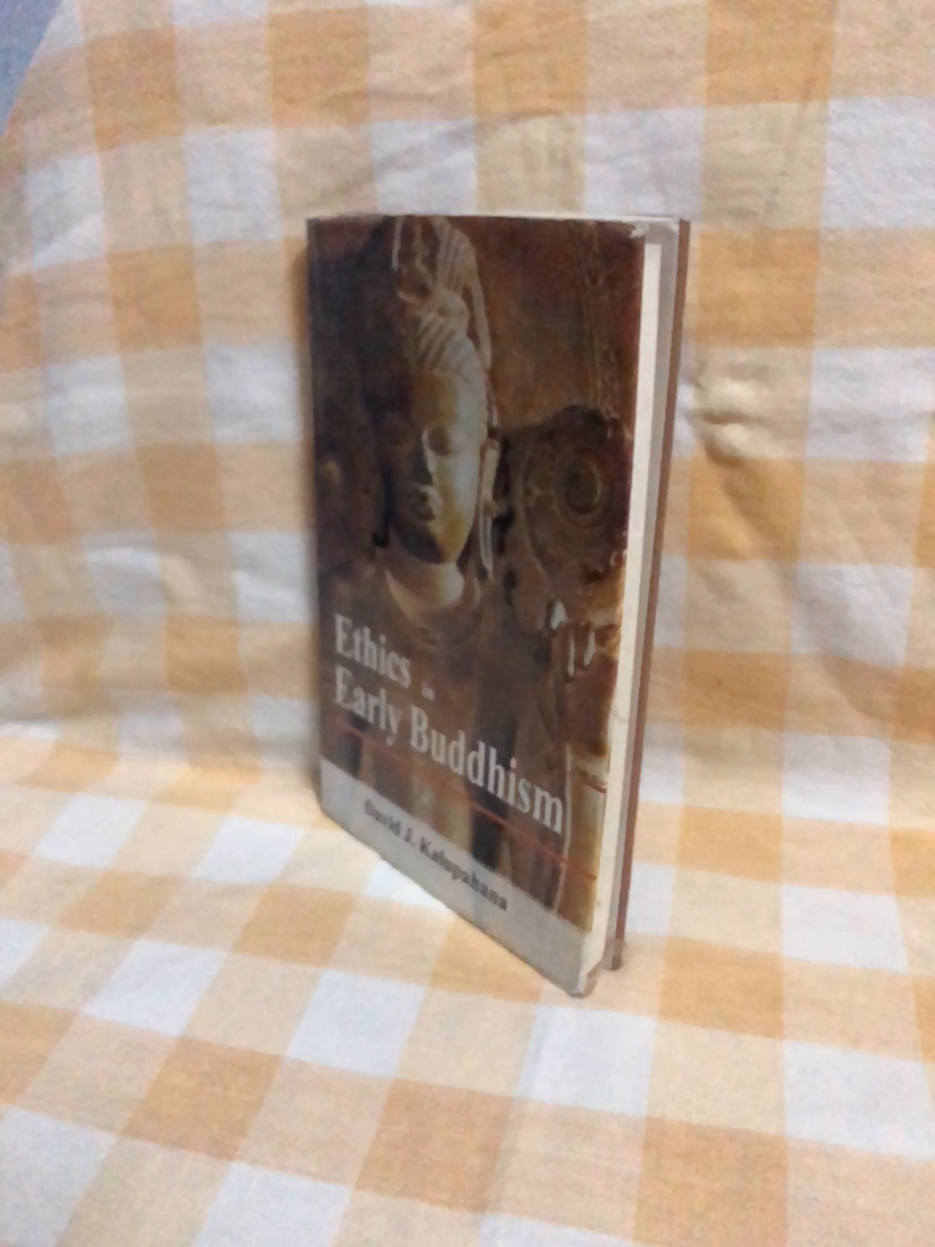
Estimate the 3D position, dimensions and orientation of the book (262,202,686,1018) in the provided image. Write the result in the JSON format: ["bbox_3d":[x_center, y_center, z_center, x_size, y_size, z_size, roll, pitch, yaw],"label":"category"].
[{"bbox_3d":[-0.010,-0.012,0.340,0.020,0.229,0.160,-17,28,-38],"label":"book"}]
